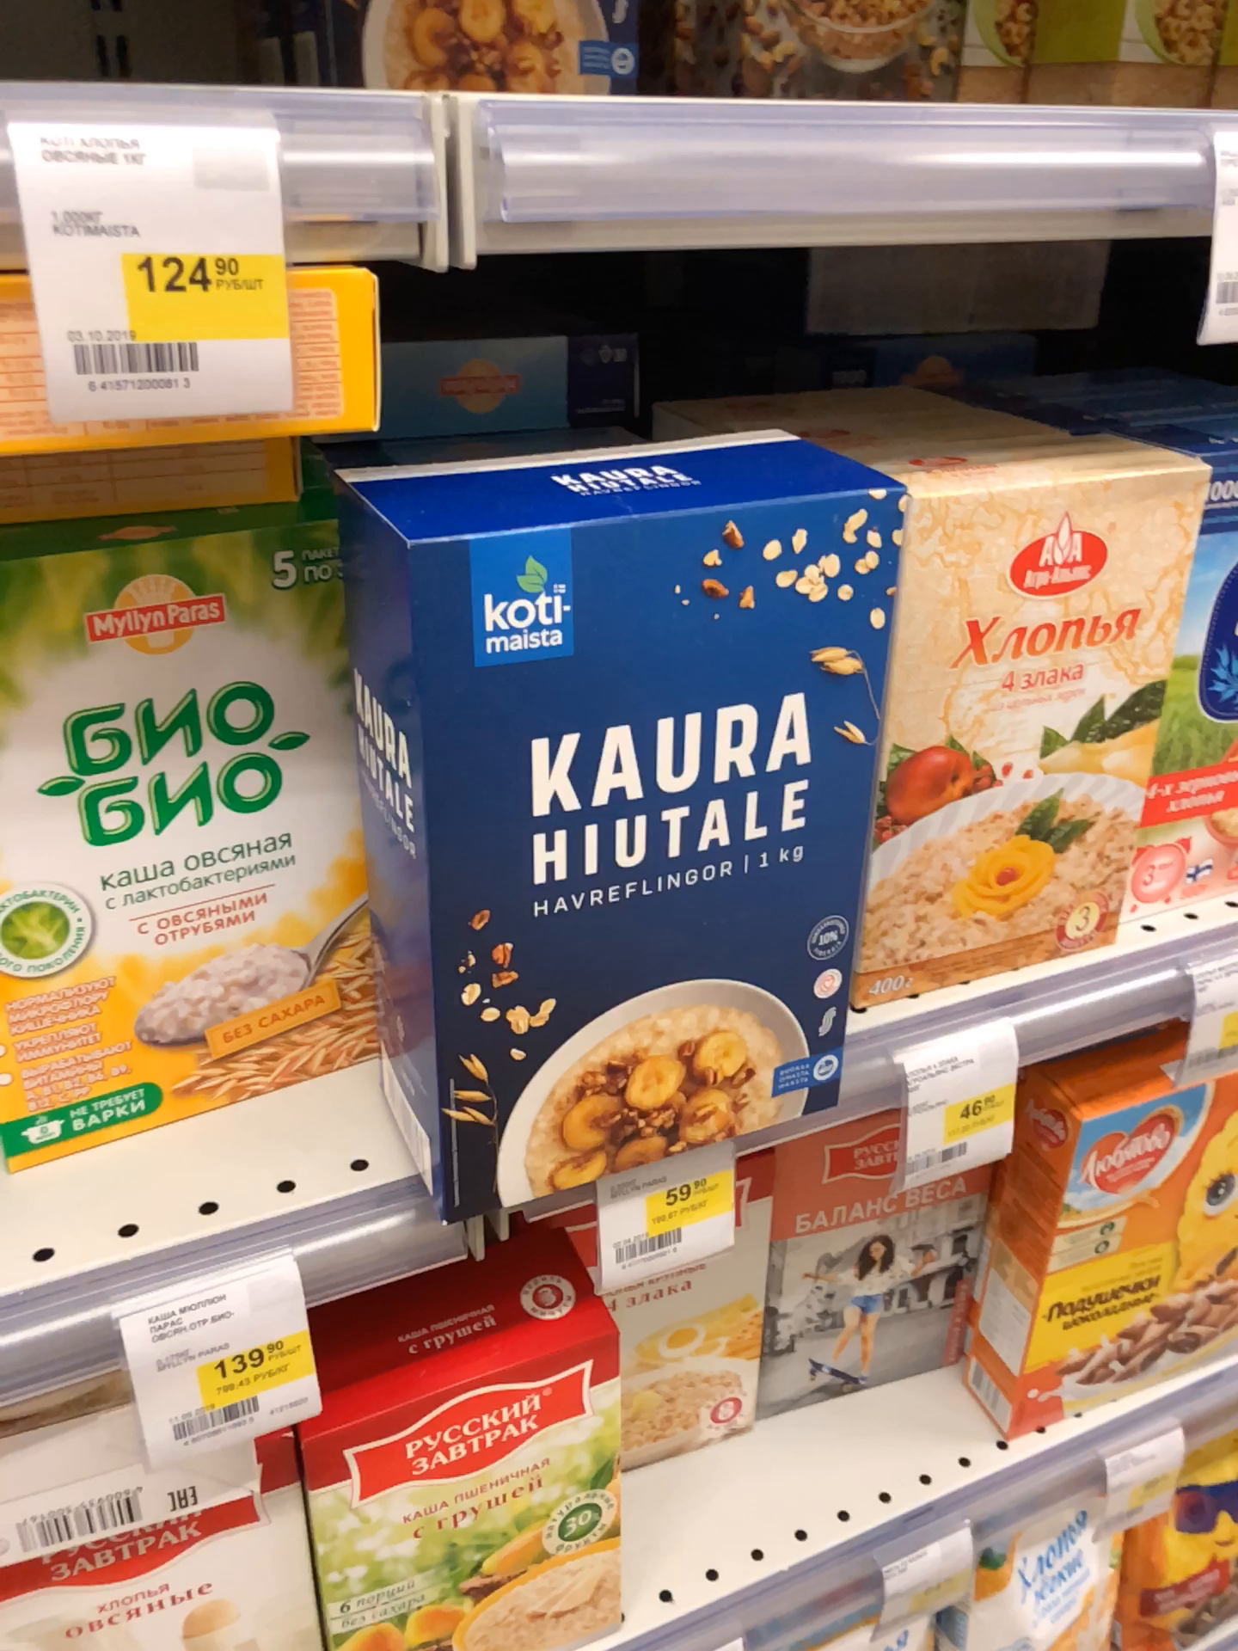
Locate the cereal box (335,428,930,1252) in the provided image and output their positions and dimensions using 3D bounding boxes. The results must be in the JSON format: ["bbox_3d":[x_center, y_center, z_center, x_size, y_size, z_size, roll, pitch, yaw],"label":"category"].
[{"bbox_3d":[0.002,0.002,0.440,0.150,0.229,0.080,-11,29,-22],"label":"cereal box"}]
